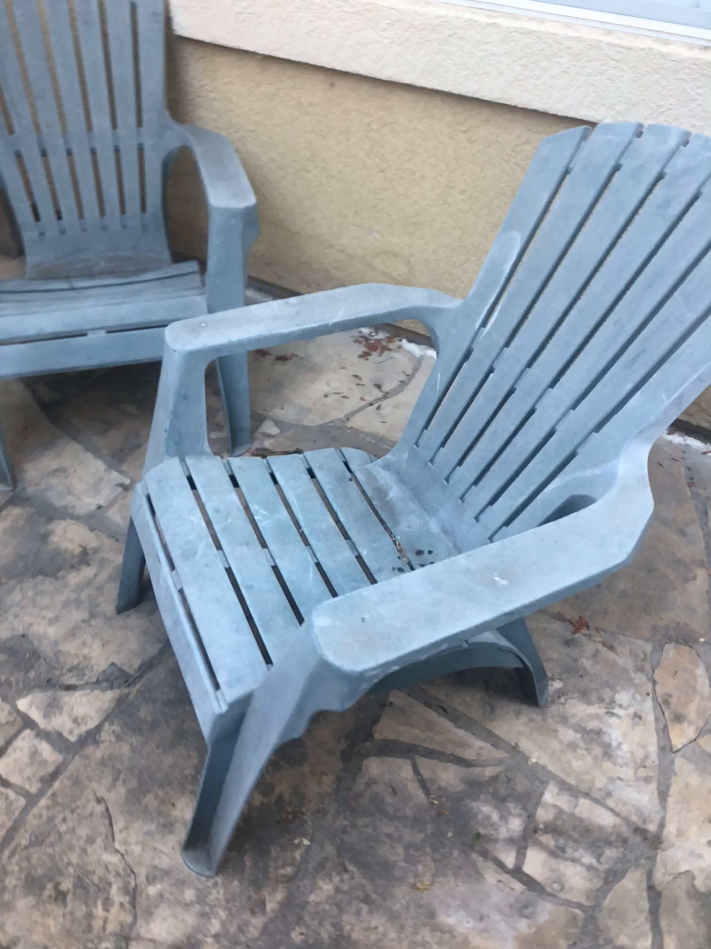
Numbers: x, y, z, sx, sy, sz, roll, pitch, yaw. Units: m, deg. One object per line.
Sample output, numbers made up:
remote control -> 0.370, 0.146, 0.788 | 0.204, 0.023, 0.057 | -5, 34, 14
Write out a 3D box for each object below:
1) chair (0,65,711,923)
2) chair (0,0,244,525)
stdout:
chair -> 0.047, -0.040, 1.185 | 0.923, 0.882, 0.694 | -13, 44, -23
chair -> -0.771, -0.685, 2.042 | 0.741, 1.220, 0.916 | -8, 35, -14
